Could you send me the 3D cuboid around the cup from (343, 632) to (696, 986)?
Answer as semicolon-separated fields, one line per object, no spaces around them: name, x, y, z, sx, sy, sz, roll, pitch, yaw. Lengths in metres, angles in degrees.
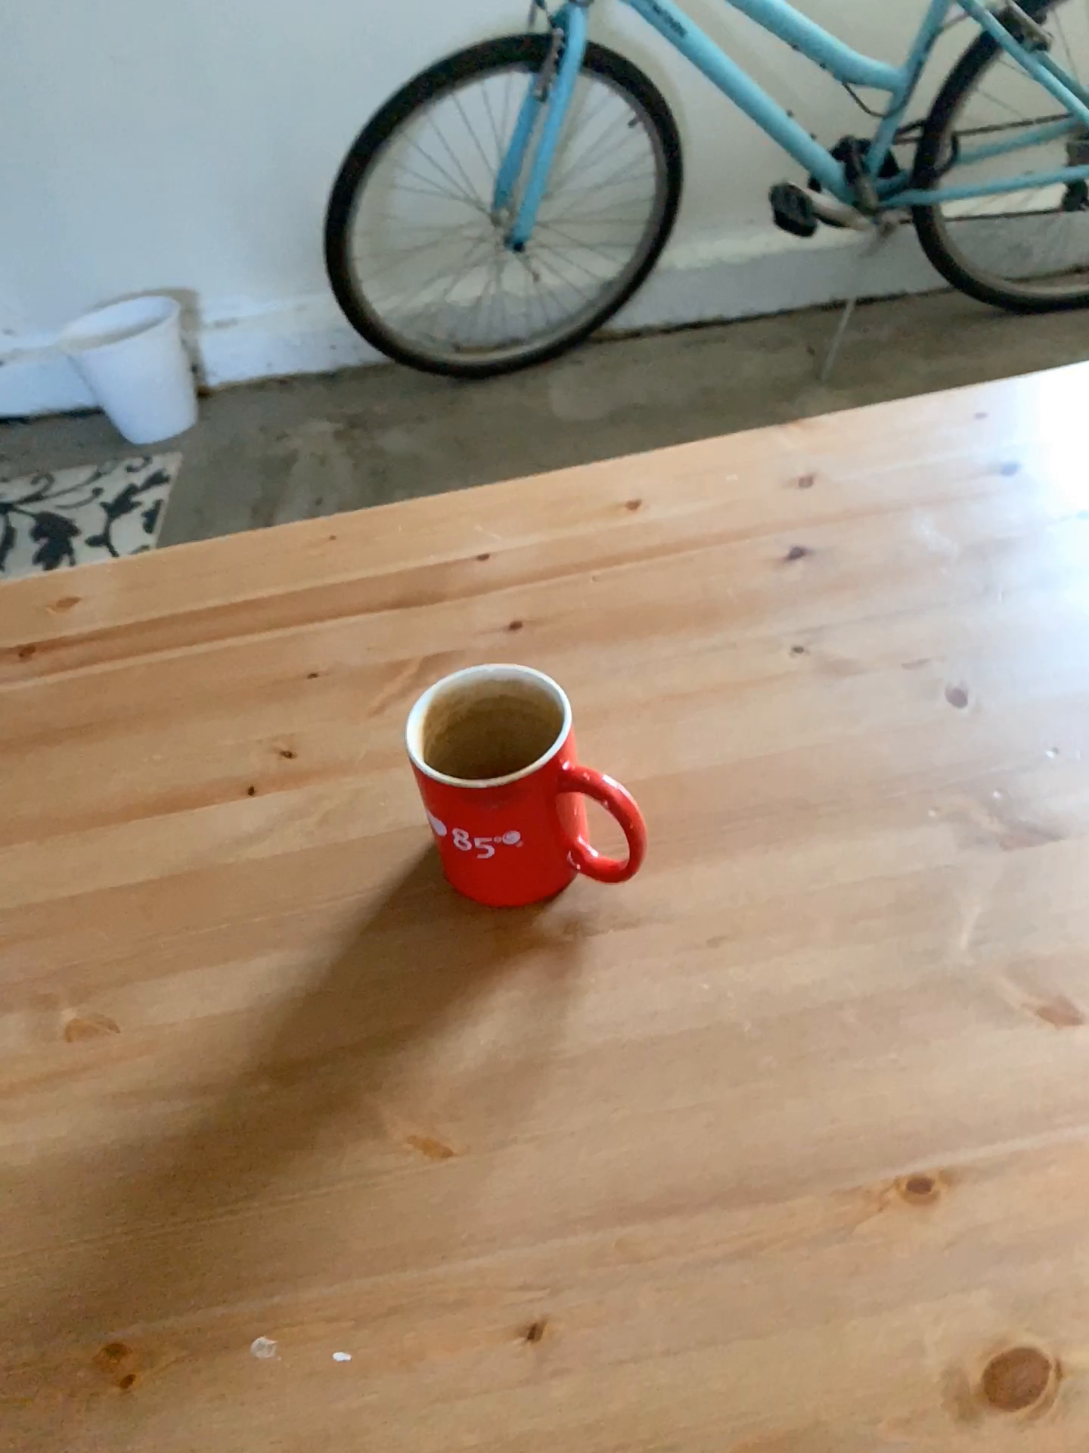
cup;-0.009;0.037;0.559;0.131;0.090;0.100;25;56;30
